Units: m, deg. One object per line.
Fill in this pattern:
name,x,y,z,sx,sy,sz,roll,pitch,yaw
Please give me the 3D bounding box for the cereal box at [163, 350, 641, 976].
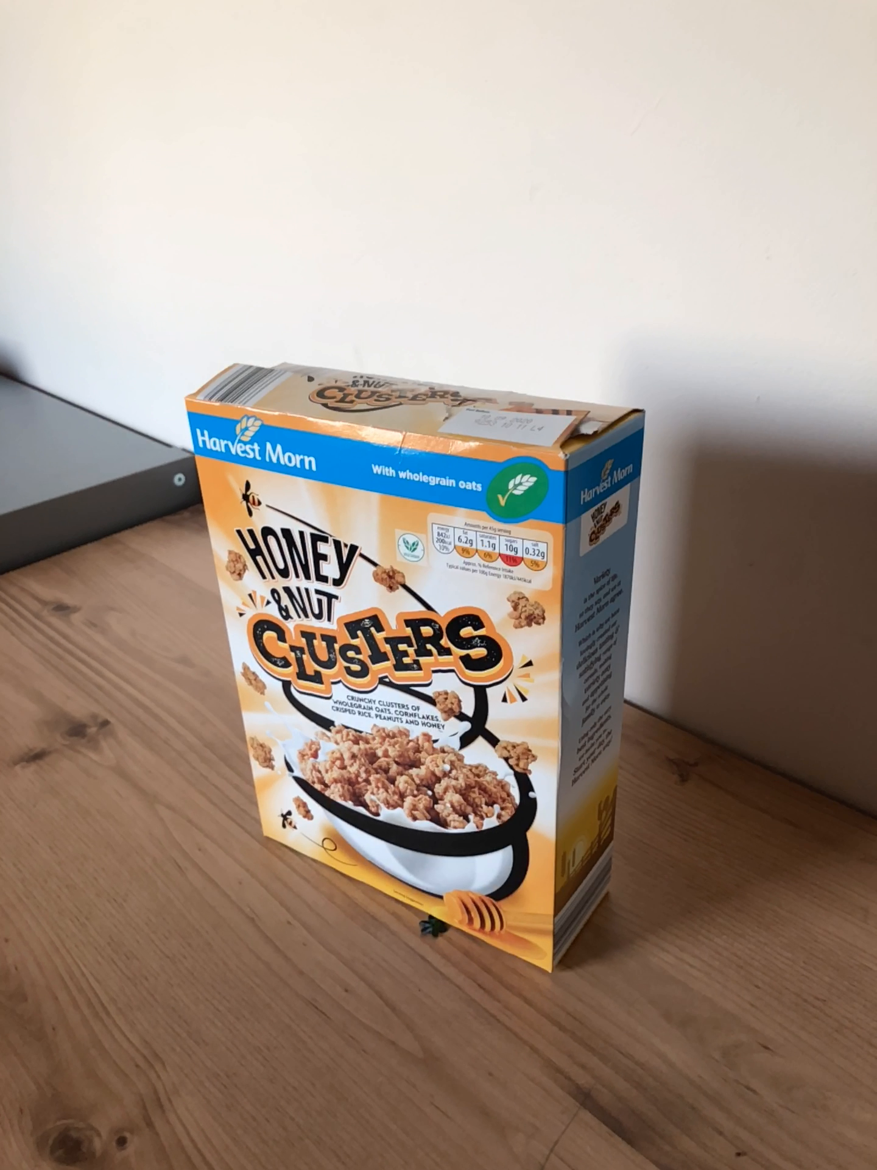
cereal box,-0.013,0.031,0.455,0.190,0.248,0.070,15,33,31
